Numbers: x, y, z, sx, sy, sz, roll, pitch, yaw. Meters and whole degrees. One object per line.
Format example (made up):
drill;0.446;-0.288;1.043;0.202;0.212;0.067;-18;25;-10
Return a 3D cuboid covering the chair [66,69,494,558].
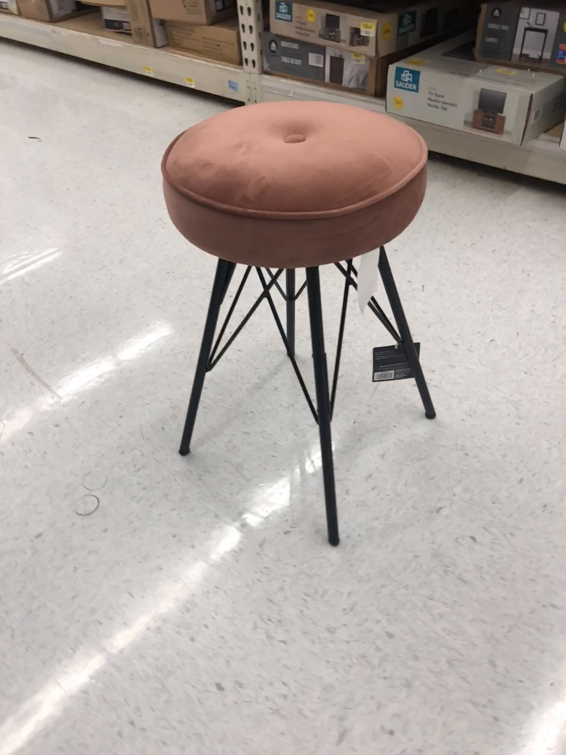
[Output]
chair;0.019;-0.100;0.885;0.351;0.498;0.360;25;50;29
